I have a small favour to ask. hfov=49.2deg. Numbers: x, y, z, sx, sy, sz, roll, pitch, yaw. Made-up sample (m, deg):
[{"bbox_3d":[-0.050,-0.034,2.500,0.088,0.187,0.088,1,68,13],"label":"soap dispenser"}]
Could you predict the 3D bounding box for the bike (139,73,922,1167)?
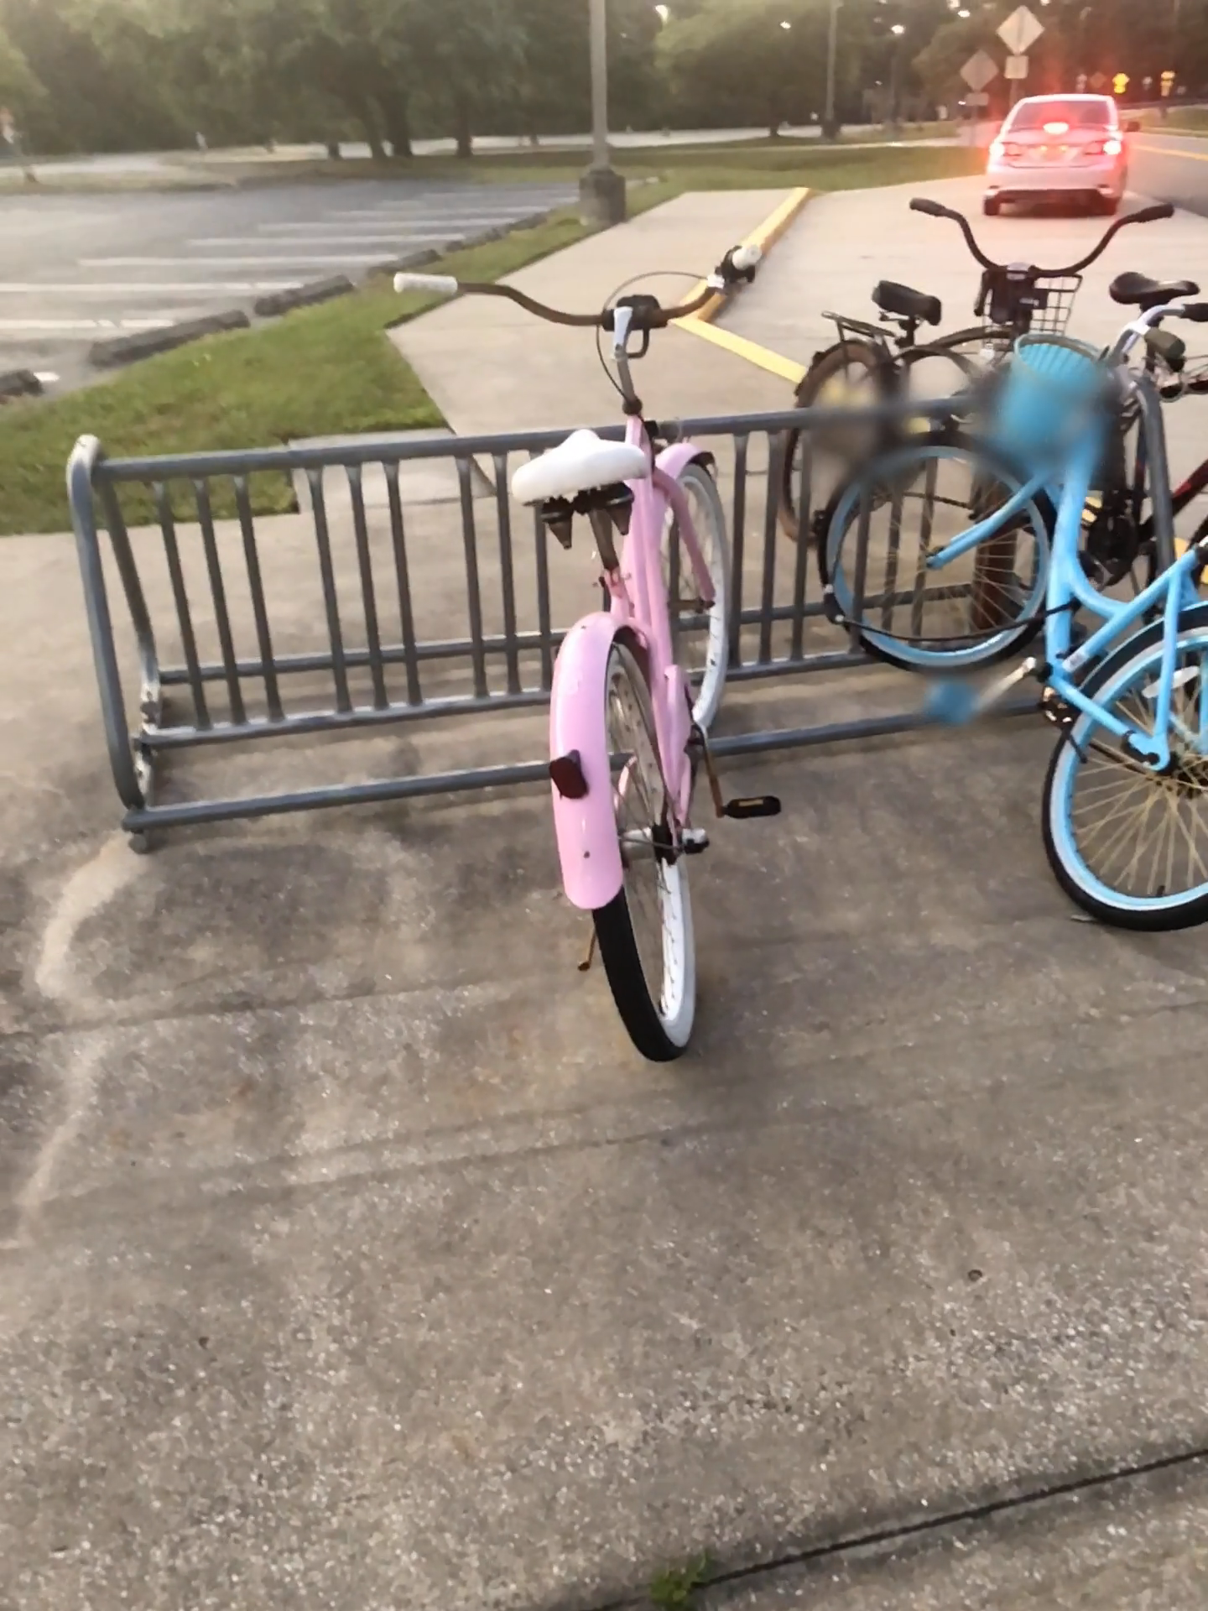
[{"bbox_3d":[0.038,-0.496,2.308,0.838,1.116,1.663,2,34,8],"label":"bike"}]
